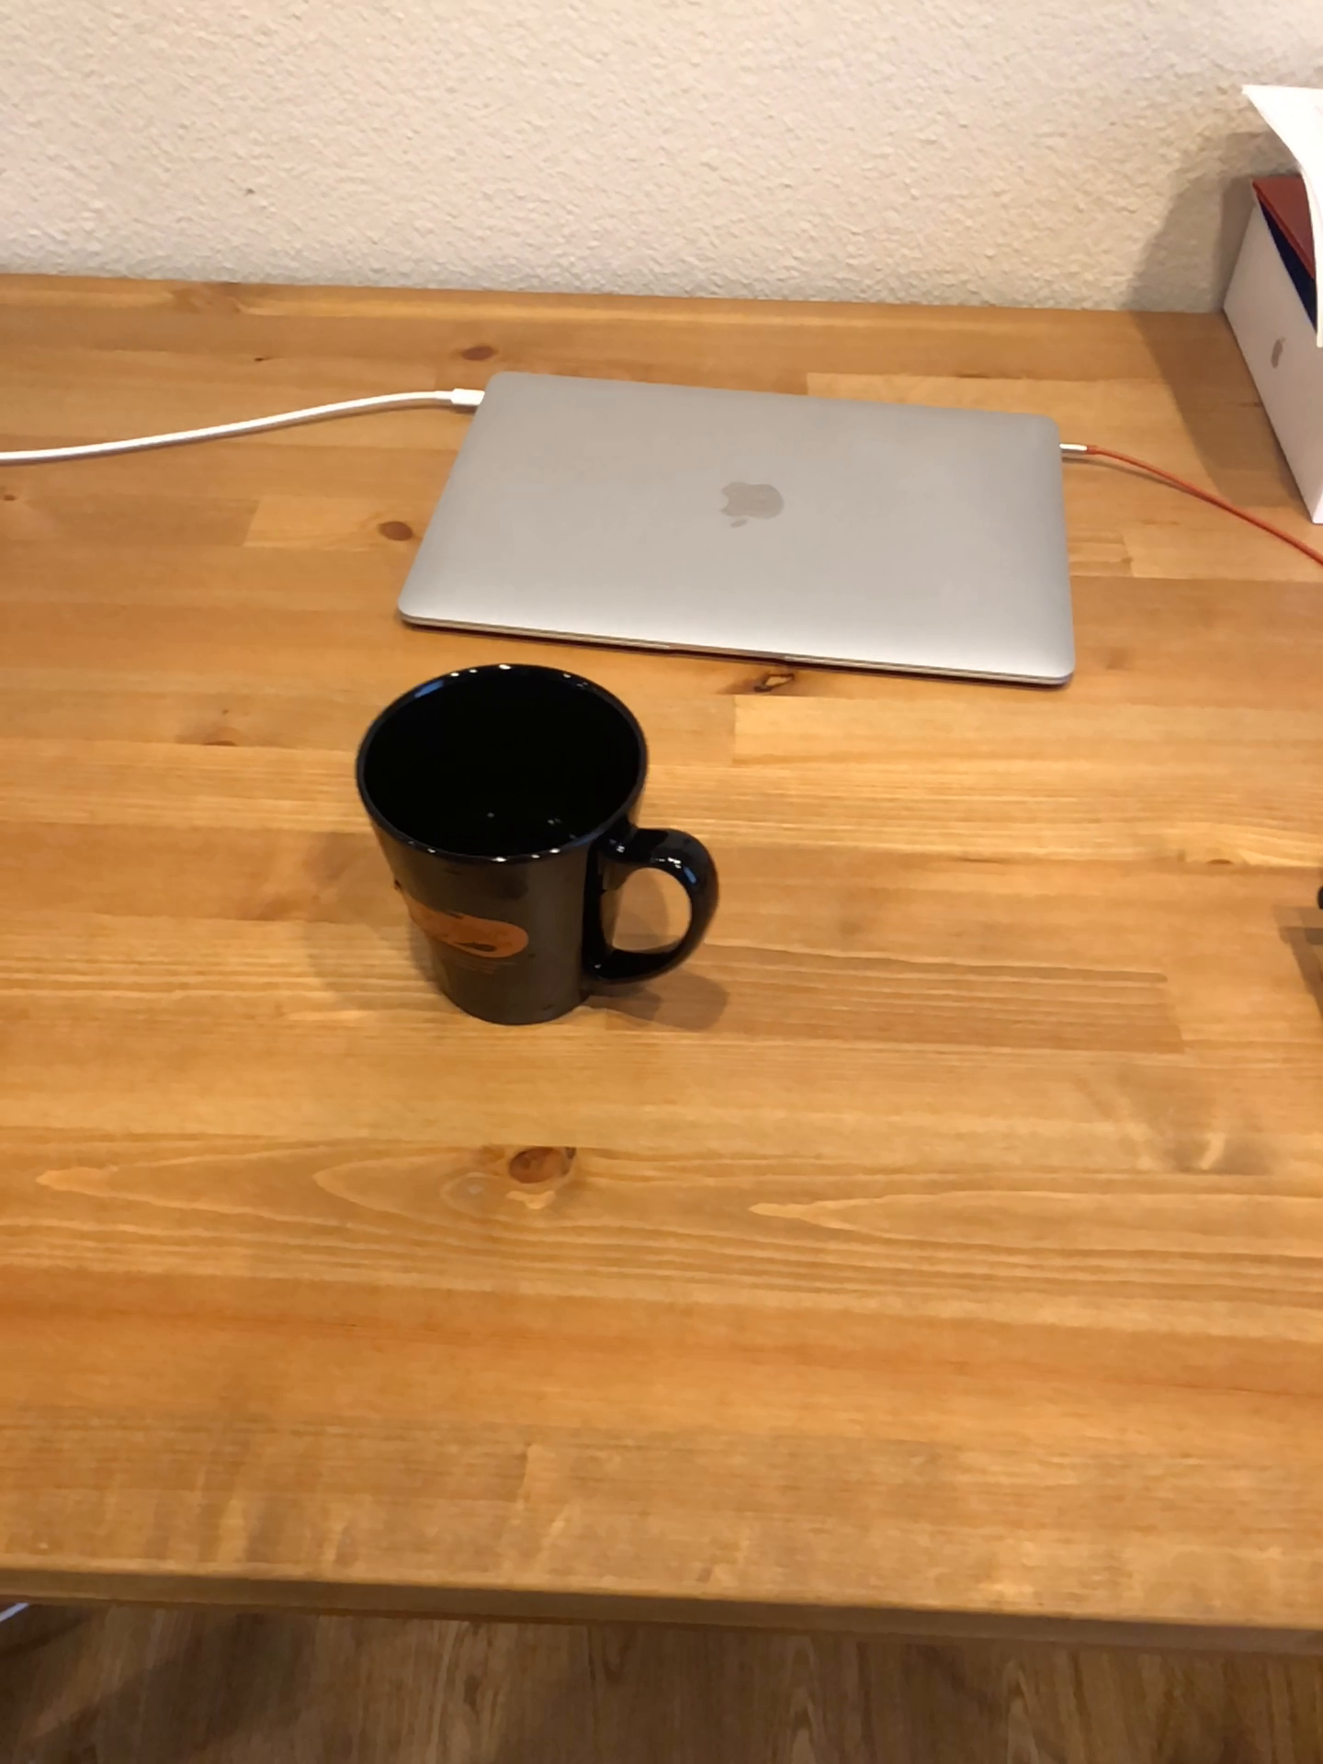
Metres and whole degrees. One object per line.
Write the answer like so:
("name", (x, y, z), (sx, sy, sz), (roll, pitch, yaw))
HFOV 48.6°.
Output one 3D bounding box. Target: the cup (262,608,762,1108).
("cup", (-0.044, -0.010, 0.472), (0.120, 0.090, 0.090), (22, 50, 19))
